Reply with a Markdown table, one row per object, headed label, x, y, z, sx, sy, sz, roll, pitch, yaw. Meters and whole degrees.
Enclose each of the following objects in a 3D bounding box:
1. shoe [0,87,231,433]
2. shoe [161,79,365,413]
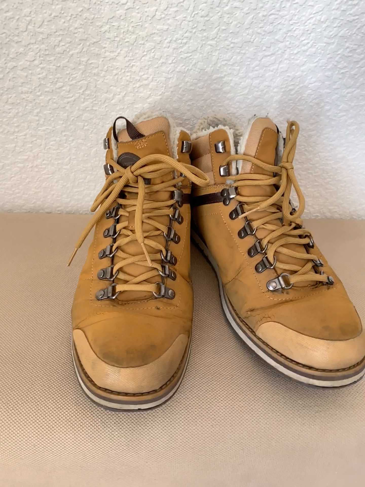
| label | x | y | z | sx | sy | sz | roll | pitch | yaw |
| --- | --- | --- | --- | --- | --- | --- | --- | --- | --- |
| shoe | -0.039 | -0.019 | 0.342 | 0.120 | 0.149 | 0.302 | 3 | 37 | -1 |
| shoe | 0.078 | -0.032 | 0.363 | 0.120 | 0.149 | 0.301 | -9 | 41 | -15 |
